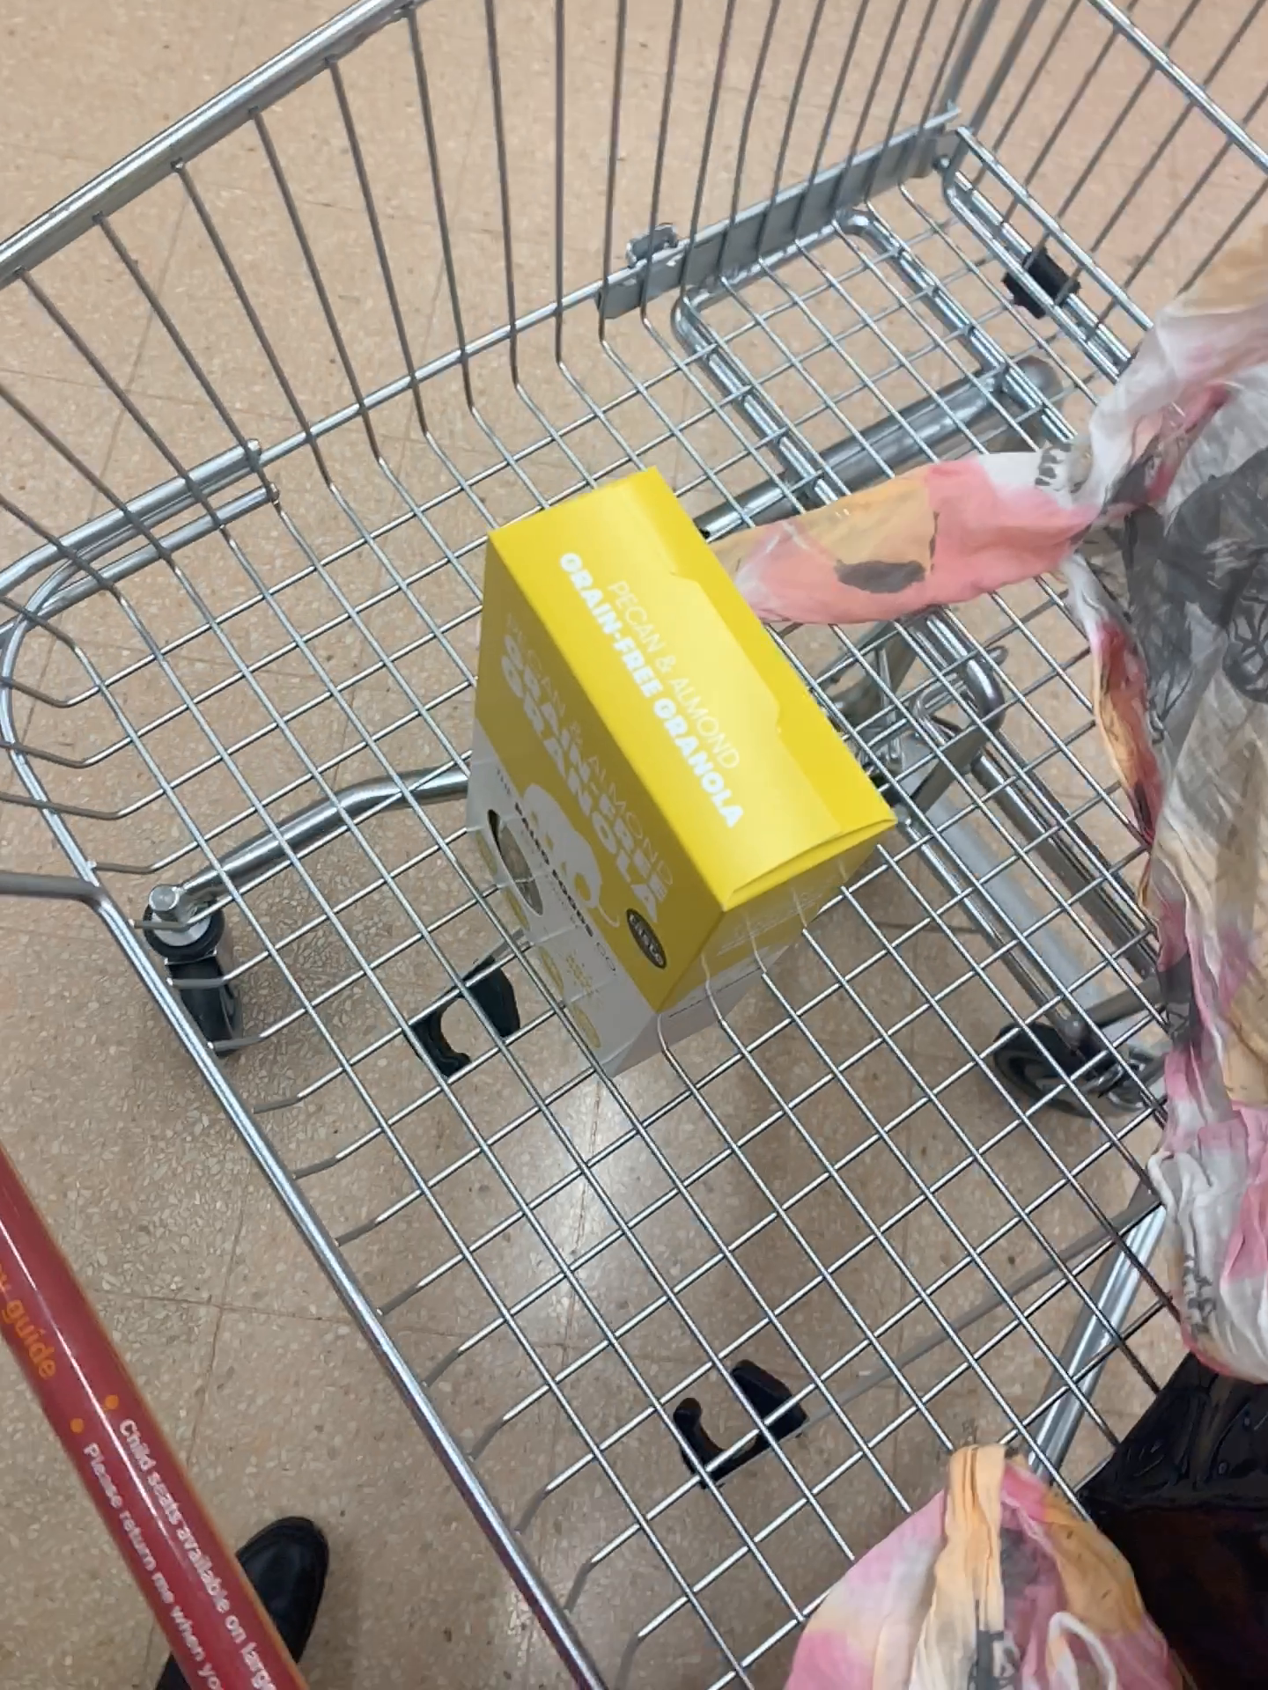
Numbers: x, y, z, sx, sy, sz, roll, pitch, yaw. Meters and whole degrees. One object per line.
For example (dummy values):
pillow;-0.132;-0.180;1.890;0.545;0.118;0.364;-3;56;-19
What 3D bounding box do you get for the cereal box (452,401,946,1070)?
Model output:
cereal box;0.002;-0.017;0.425;0.060;0.209;0.130;-27;76;-18
